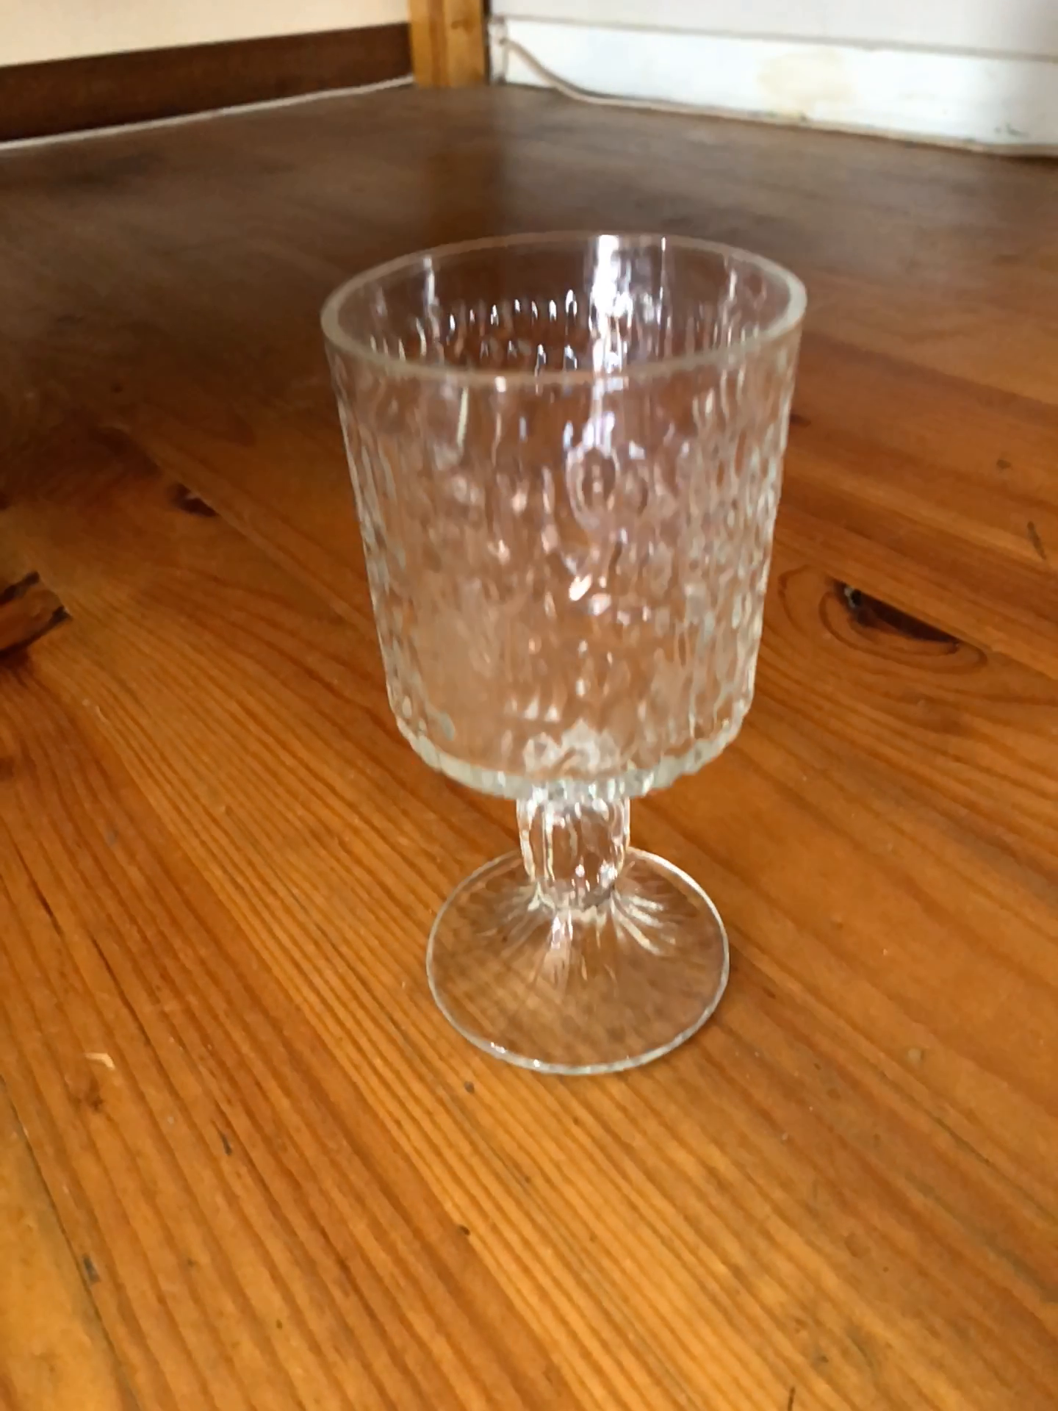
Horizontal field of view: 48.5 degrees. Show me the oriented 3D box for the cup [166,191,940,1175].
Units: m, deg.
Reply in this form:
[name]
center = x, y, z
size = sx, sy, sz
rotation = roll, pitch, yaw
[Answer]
[cup]
center = 0.003, -0.008, 0.209
size = 0.082, 0.134, 0.081
rotation = -2, 34, 1
